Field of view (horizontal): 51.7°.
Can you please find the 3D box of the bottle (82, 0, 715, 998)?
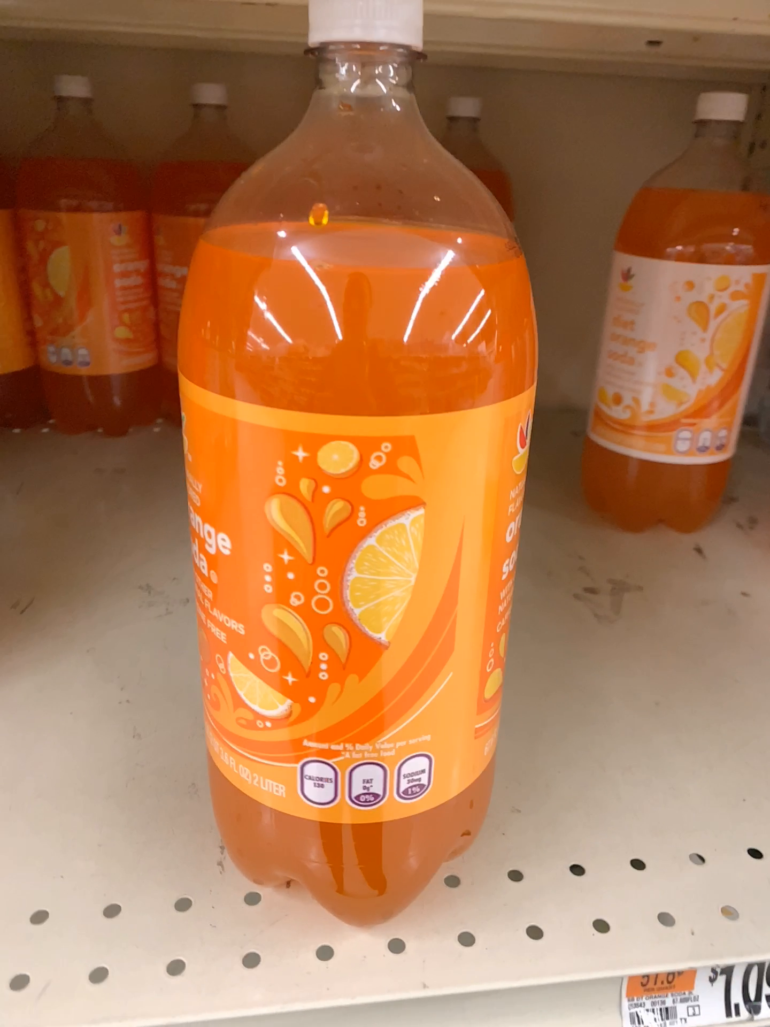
[{"bbox_3d":[-0.005,-0.009,0.265,0.120,0.288,0.110,2,26,-1],"label":"bottle"}]
